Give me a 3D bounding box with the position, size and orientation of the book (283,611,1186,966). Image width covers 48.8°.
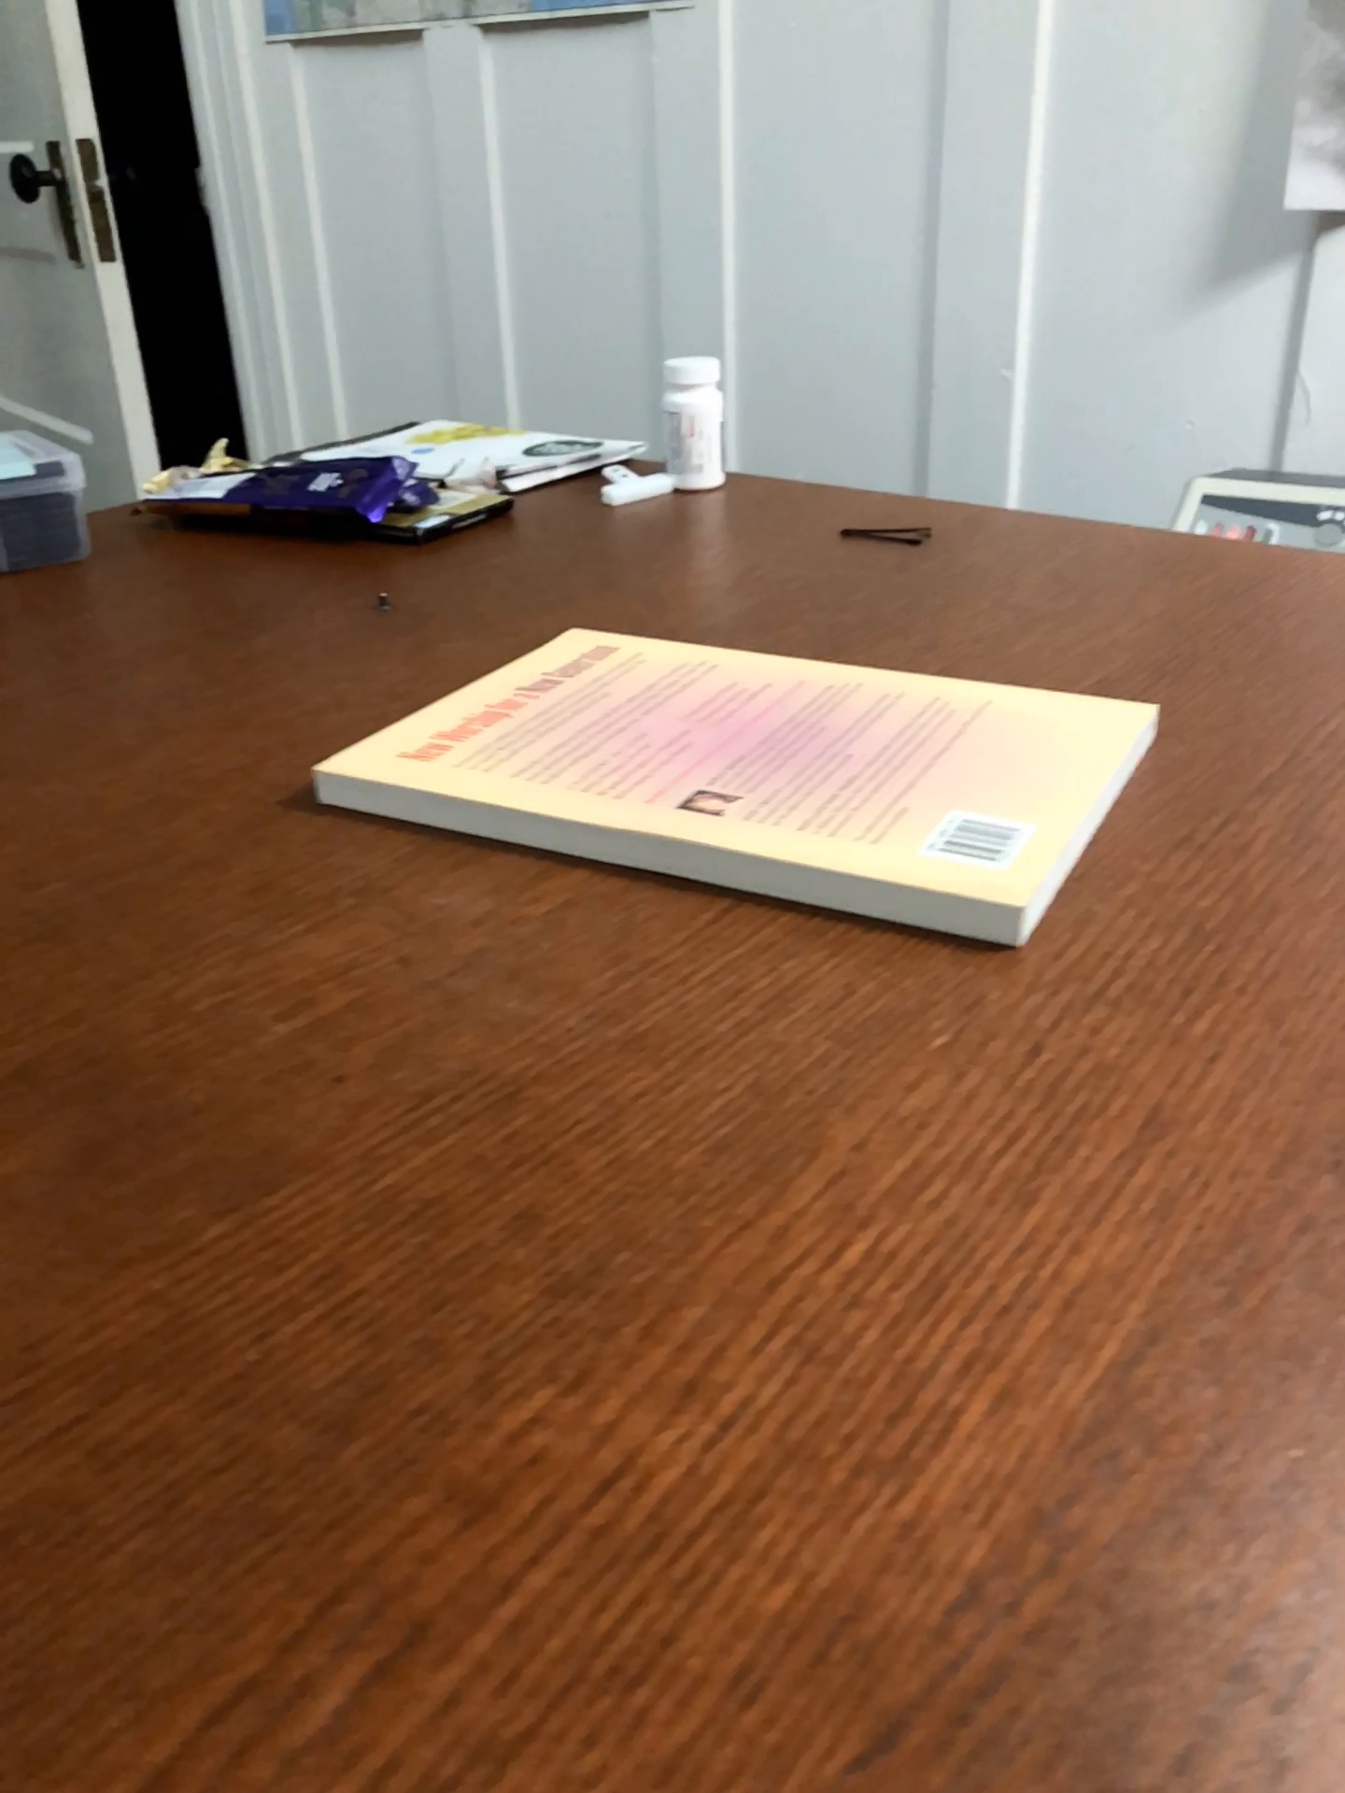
[{"bbox_3d":[0.029,-0.054,0.537,0.270,0.020,0.191,11,30,24],"label":"book"}]
